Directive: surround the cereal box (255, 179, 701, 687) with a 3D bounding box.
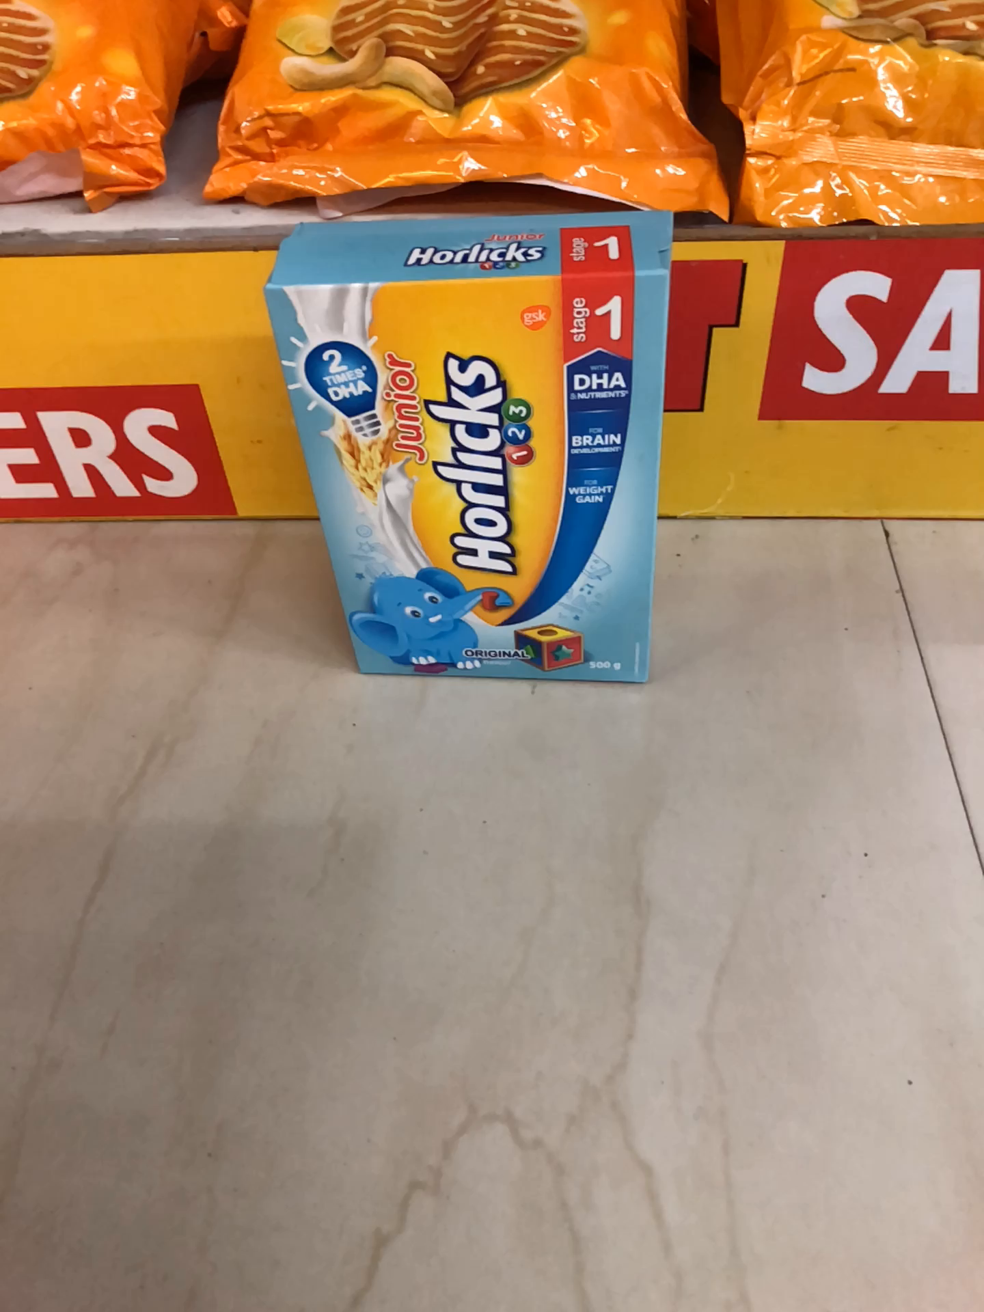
[{"bbox_3d":[0.005,-0.075,0.426,0.140,0.199,0.050,2,48,8],"label":"cereal box"}]
